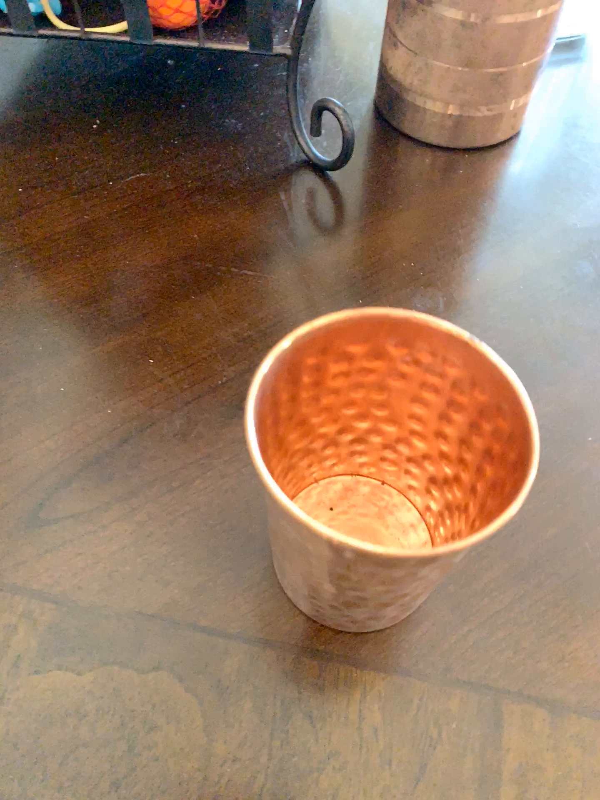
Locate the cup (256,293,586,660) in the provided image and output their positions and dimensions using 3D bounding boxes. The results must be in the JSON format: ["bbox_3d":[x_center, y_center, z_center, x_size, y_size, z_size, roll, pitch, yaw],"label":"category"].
[{"bbox_3d":[0.024,0.026,0.177,0.066,0.083,0.070,2,56,-2],"label":"cup"}]
